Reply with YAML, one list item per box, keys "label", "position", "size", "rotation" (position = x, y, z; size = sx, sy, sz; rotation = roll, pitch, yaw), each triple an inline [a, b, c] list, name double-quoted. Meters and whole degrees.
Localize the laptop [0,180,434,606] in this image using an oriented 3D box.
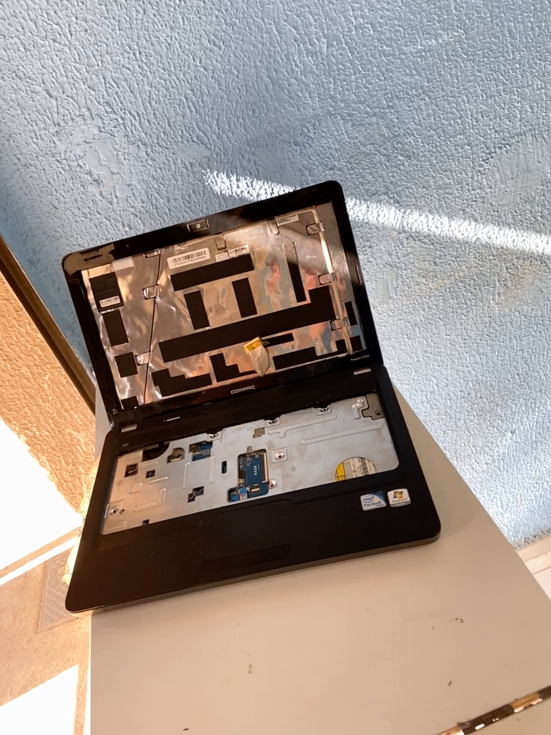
- label: "laptop"
  position: [-0.056, 0.004, 0.578]
  size: [0.331, 0.182, 0.338]
  rotation: [-14, 38, 7]
